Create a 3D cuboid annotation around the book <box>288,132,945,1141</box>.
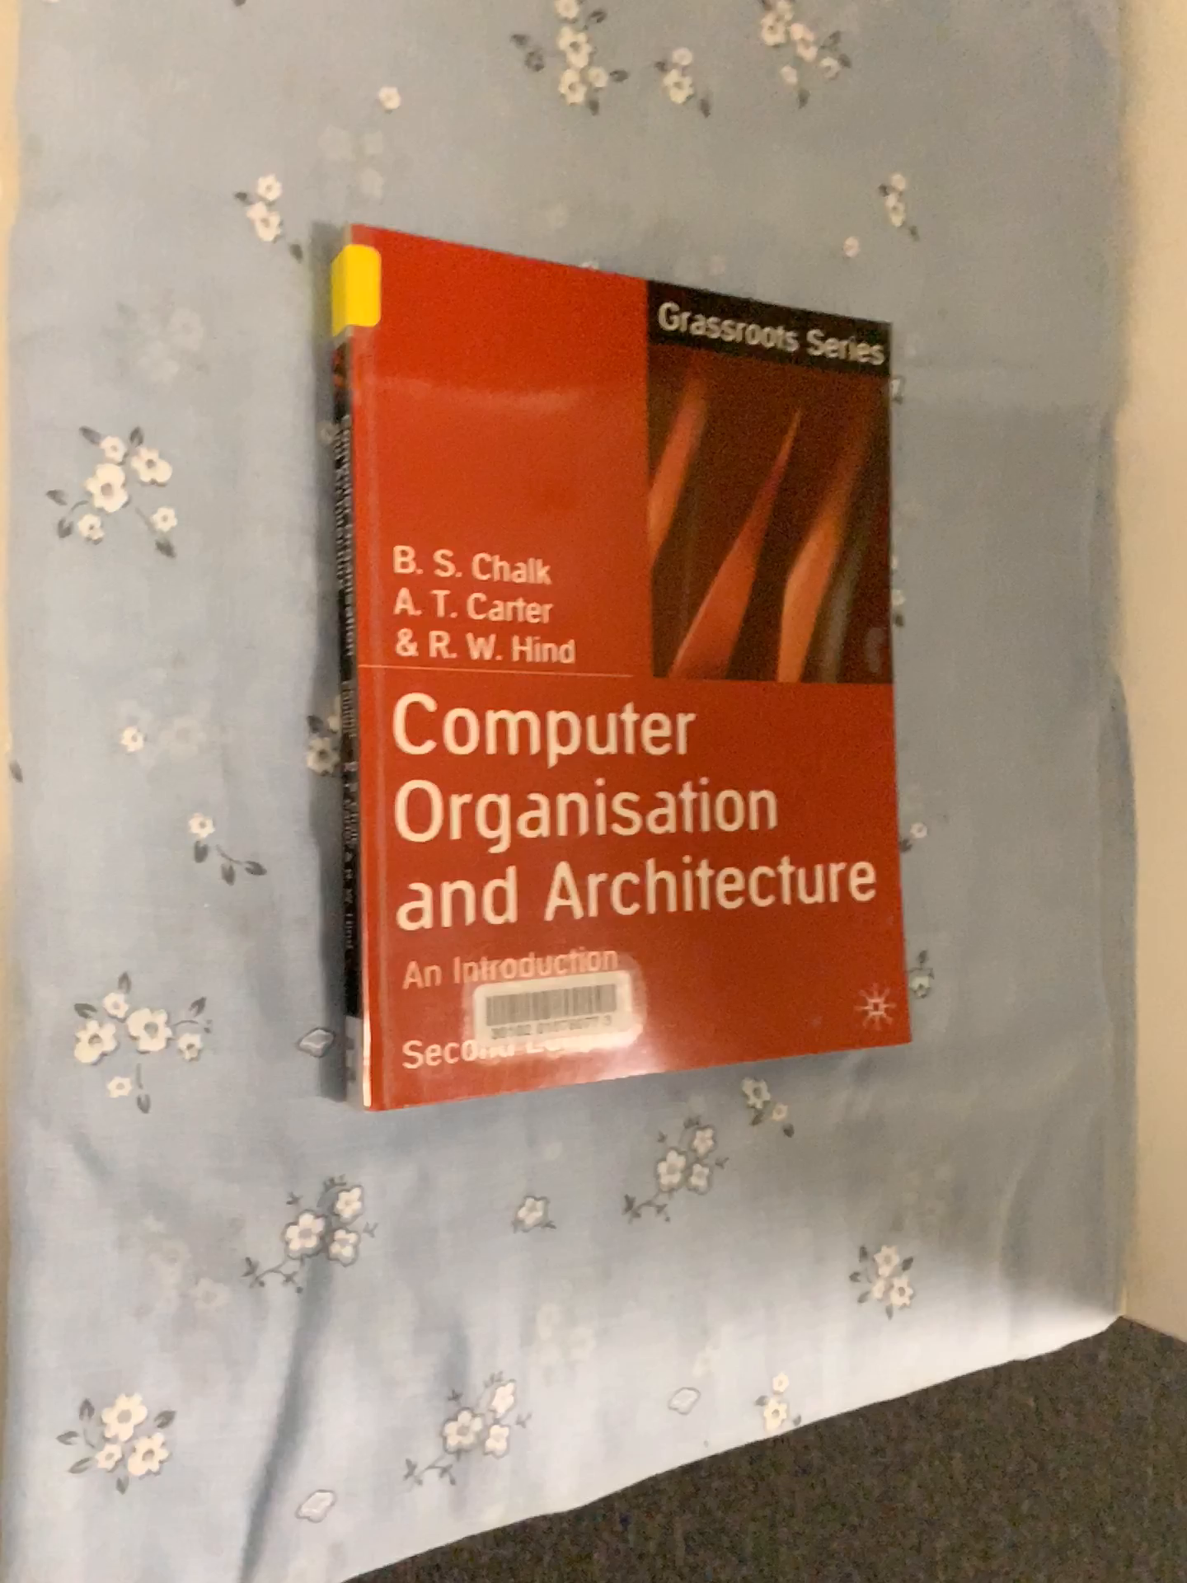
[{"bbox_3d":[0.015,-0.044,0.385,0.210,0.030,0.270,0,88,-26],"label":"book"}]
